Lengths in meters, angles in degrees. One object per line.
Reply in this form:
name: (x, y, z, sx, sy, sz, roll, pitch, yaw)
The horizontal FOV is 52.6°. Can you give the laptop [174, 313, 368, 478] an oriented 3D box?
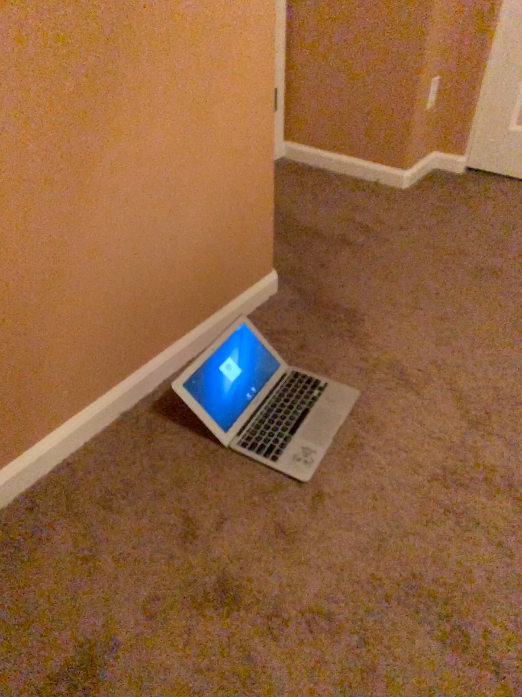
laptop: (0.030, 0.086, 1.191, 0.324, 0.116, 0.300, 18, 42, 23)
